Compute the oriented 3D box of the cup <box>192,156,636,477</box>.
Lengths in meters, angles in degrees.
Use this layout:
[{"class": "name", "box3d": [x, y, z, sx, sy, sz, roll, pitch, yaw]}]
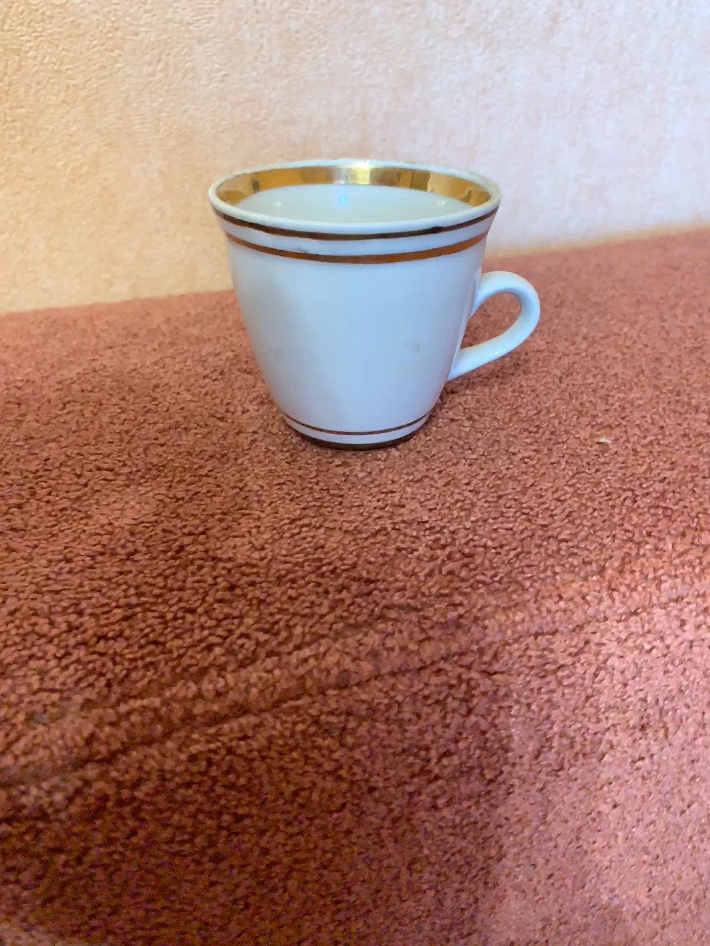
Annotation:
[{"class": "cup", "box3d": [0.008, -0.037, 0.165, 0.078, 0.048, 0.055, -4, 35, -6]}]
